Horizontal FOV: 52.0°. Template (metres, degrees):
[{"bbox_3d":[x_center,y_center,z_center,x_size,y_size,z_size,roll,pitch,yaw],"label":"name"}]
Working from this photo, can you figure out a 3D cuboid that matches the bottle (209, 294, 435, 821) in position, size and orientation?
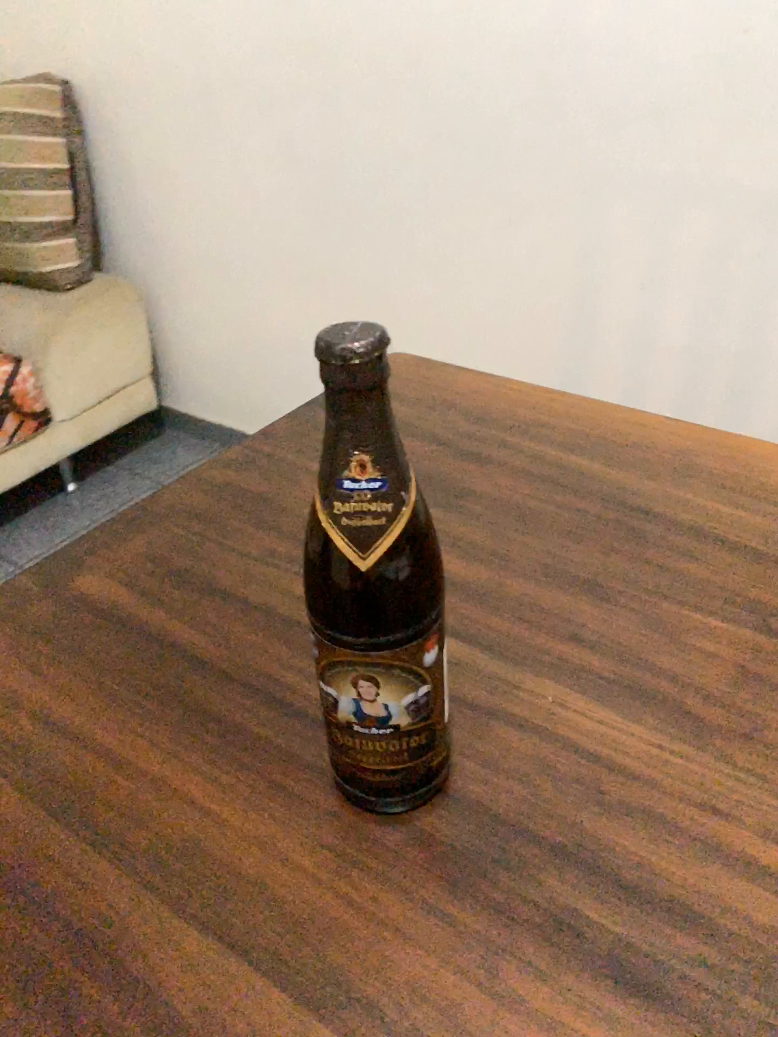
[{"bbox_3d":[-0.019,0.035,0.385,0.070,0.268,0.060,0,34,6],"label":"bottle"}]
